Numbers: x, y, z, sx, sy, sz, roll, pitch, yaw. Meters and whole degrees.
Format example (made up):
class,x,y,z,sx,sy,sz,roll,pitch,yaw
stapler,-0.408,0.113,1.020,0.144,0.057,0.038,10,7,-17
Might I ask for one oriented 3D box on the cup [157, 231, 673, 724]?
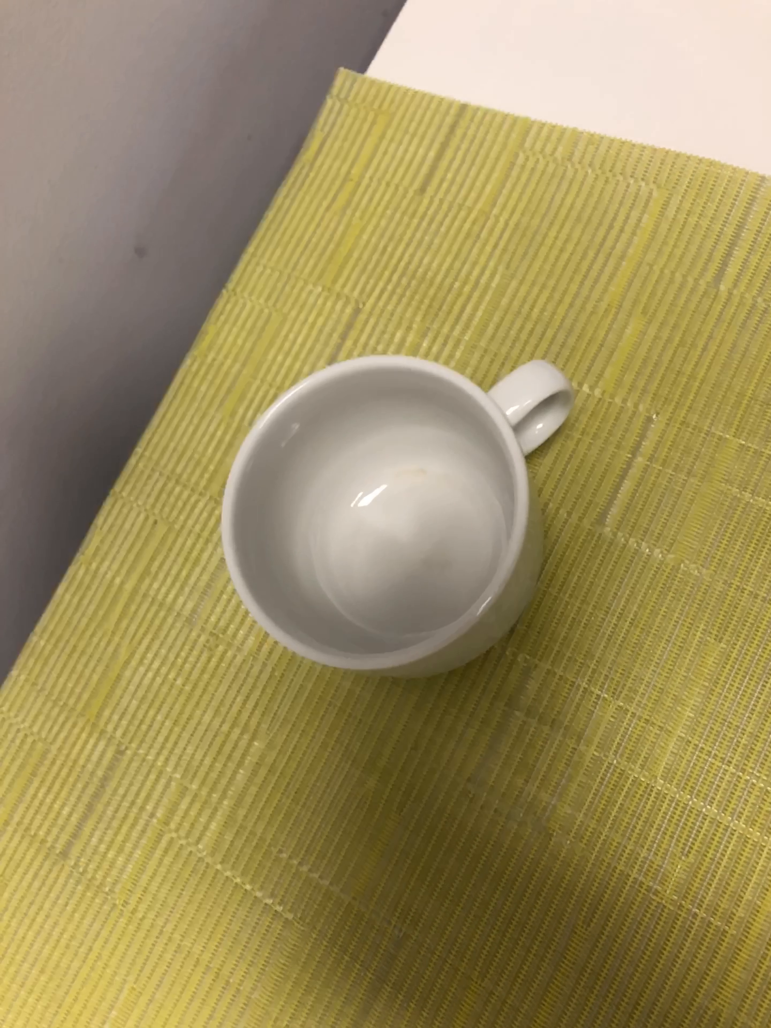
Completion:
class,x,y,z,sx,sy,sz,roll,pitch,yaw
cup,0.009,-0.005,0.249,0.110,0.057,0.086,-29,69,8
